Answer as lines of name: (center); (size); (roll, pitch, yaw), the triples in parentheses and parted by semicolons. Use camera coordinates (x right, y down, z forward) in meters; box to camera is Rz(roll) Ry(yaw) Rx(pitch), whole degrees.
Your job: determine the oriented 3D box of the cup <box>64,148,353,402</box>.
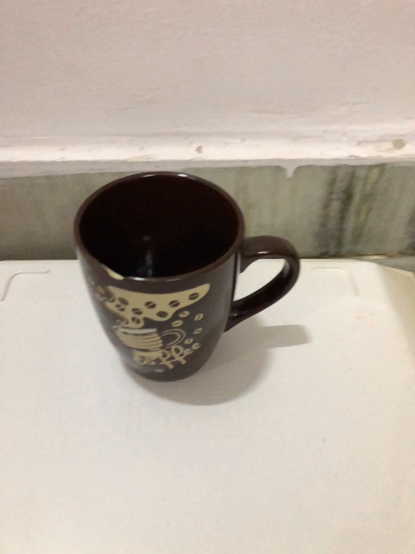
cup: (-0.005, -0.001, 0.246); (0.120, 0.099, 0.070); (-8, 46, -10)
